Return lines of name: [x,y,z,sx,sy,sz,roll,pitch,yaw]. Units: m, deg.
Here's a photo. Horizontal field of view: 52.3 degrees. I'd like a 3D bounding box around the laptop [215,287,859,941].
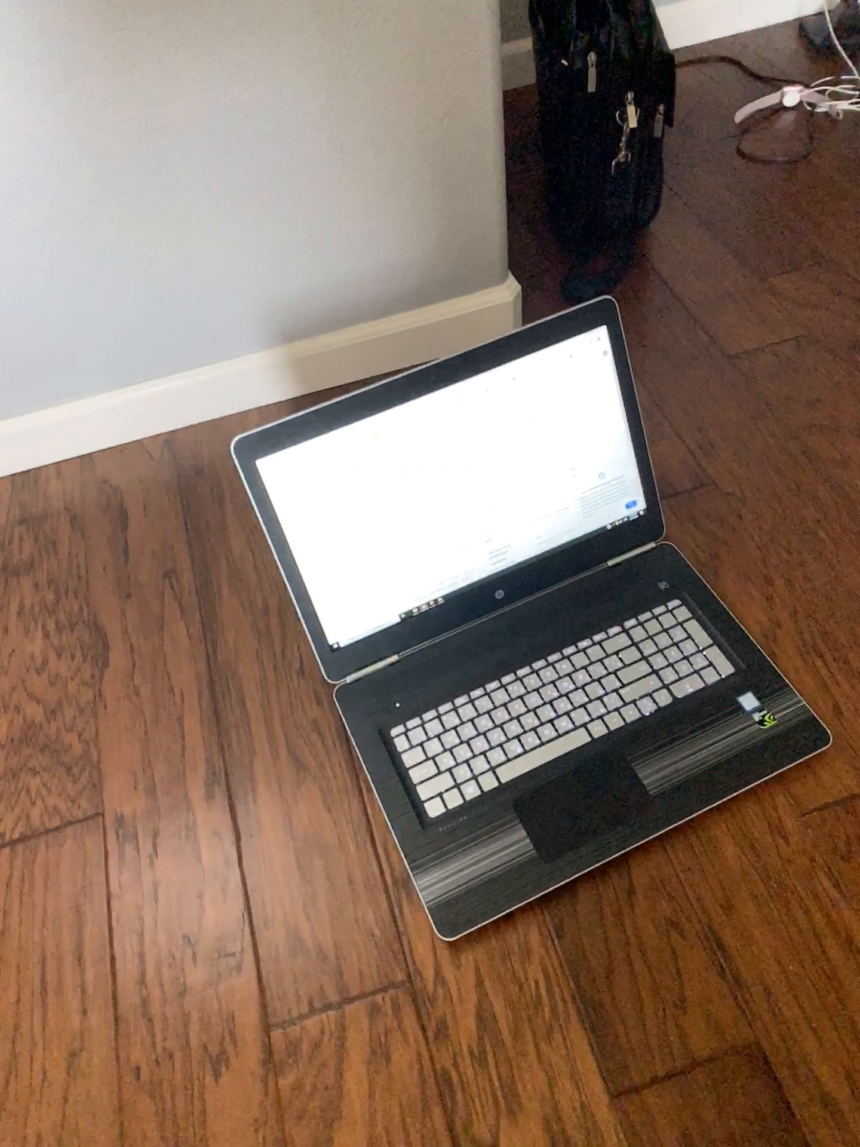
laptop: [0.090,0.012,0.814,0.410,0.233,0.424,-23,54,-11]
